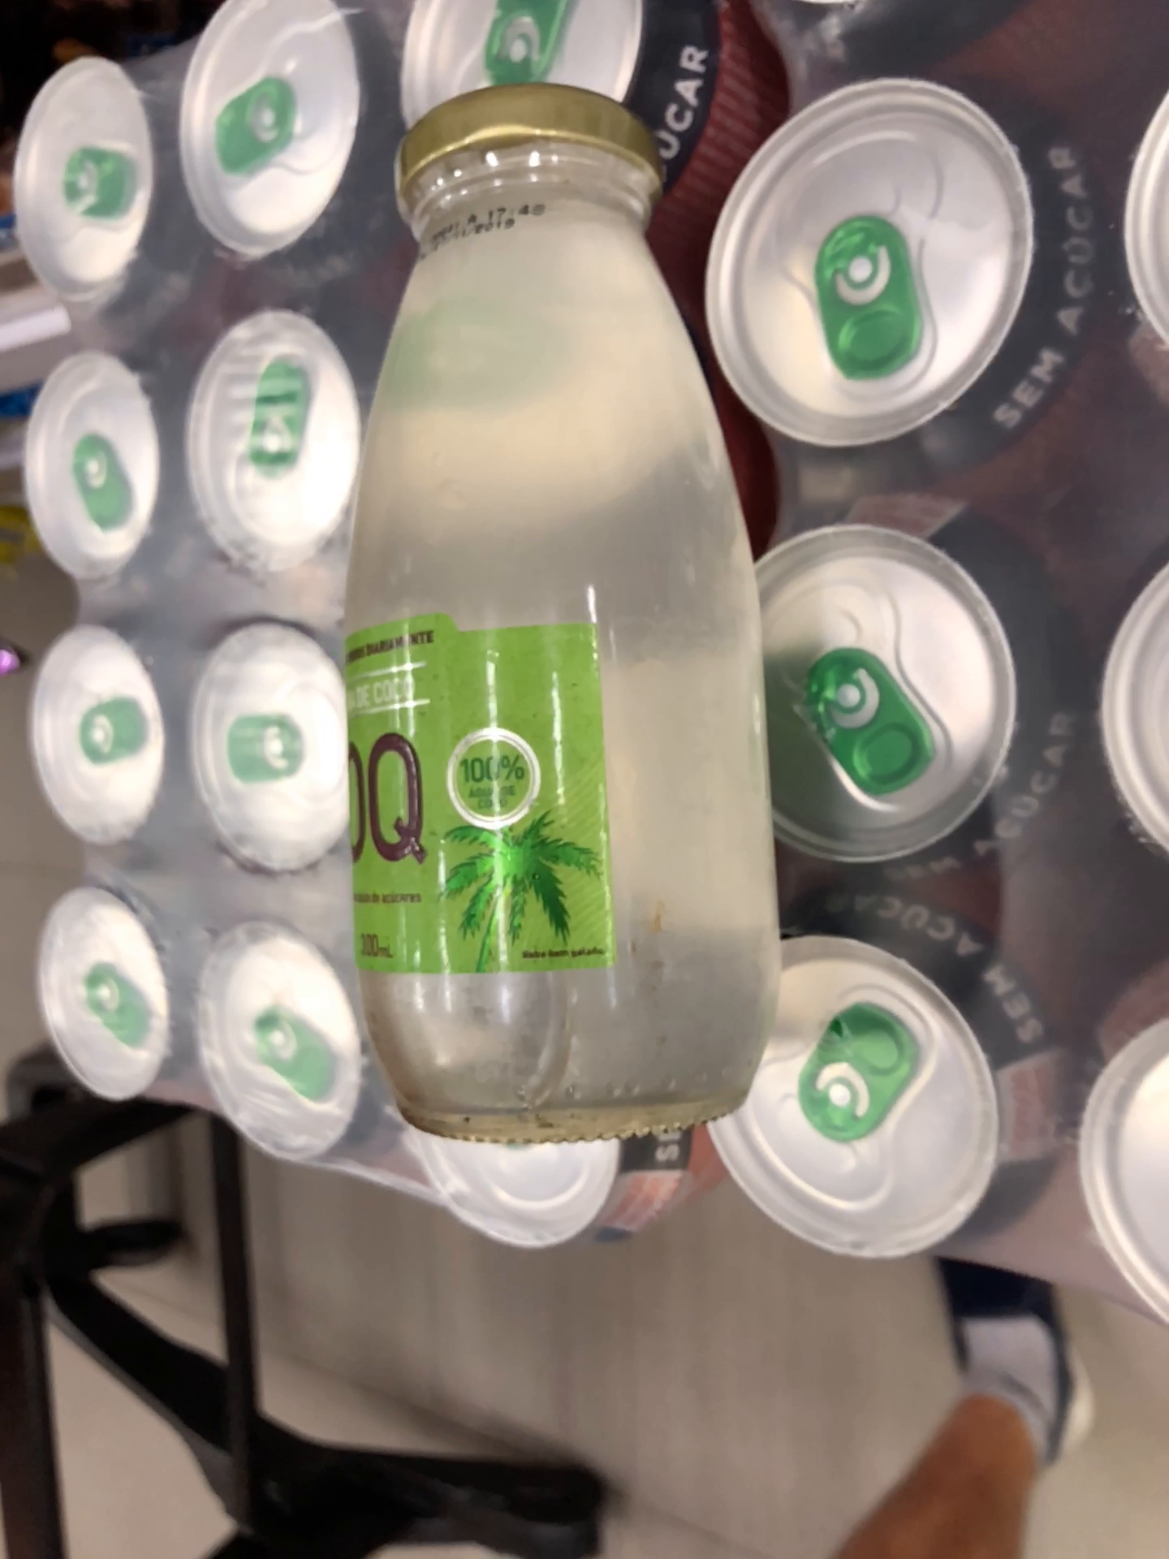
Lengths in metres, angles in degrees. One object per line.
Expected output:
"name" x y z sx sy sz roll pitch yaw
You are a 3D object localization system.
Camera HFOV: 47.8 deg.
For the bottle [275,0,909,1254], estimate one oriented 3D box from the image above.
"bottle" -0.002 -0.021 0.197 0.070 0.060 0.150 -2 90 55
